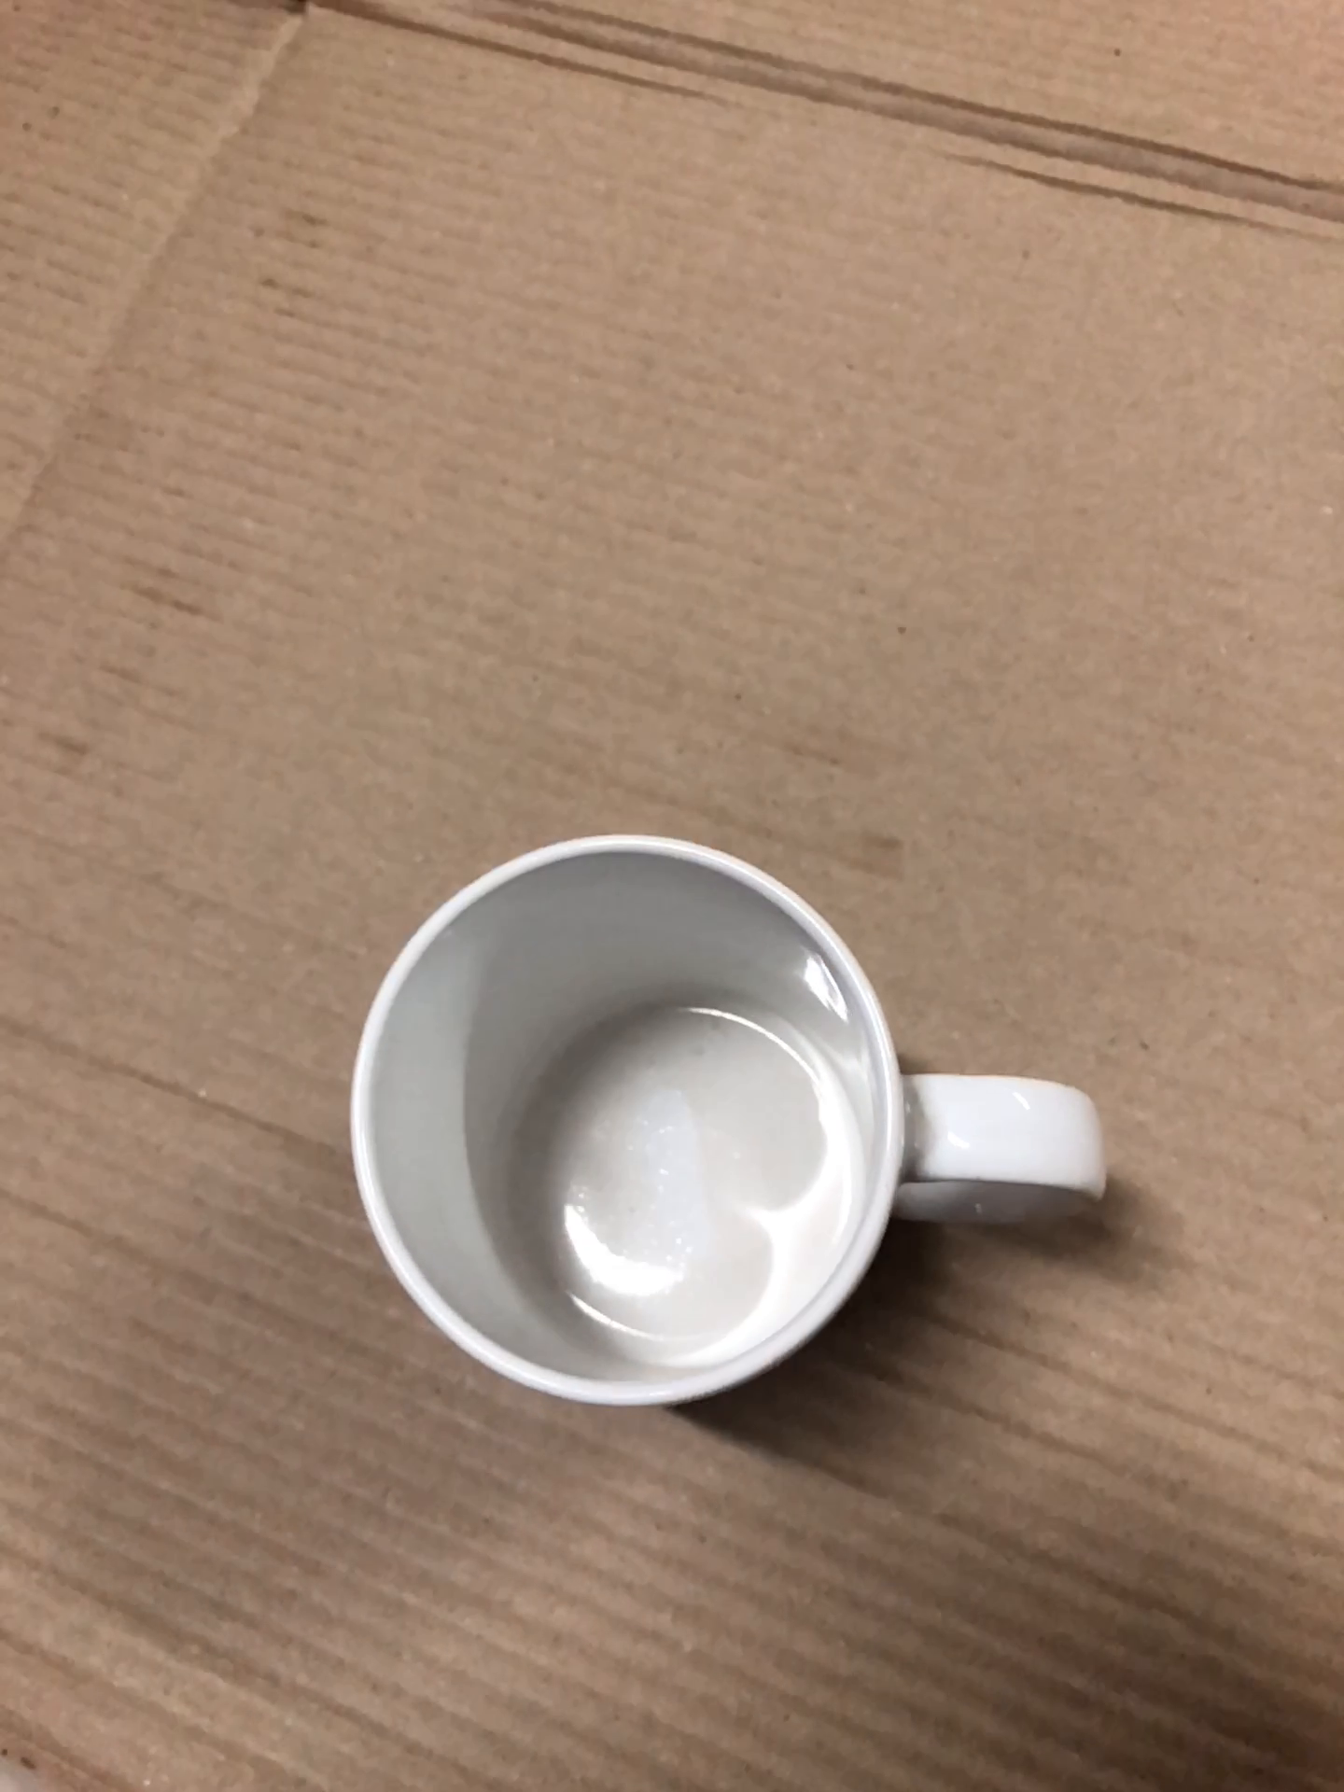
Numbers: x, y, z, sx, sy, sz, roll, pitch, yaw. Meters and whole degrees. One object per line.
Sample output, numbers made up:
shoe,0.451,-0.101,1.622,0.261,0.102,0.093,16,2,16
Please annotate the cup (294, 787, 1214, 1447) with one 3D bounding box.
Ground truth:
cup,0.015,0.039,0.236,0.110,0.090,0.080,1,69,6
